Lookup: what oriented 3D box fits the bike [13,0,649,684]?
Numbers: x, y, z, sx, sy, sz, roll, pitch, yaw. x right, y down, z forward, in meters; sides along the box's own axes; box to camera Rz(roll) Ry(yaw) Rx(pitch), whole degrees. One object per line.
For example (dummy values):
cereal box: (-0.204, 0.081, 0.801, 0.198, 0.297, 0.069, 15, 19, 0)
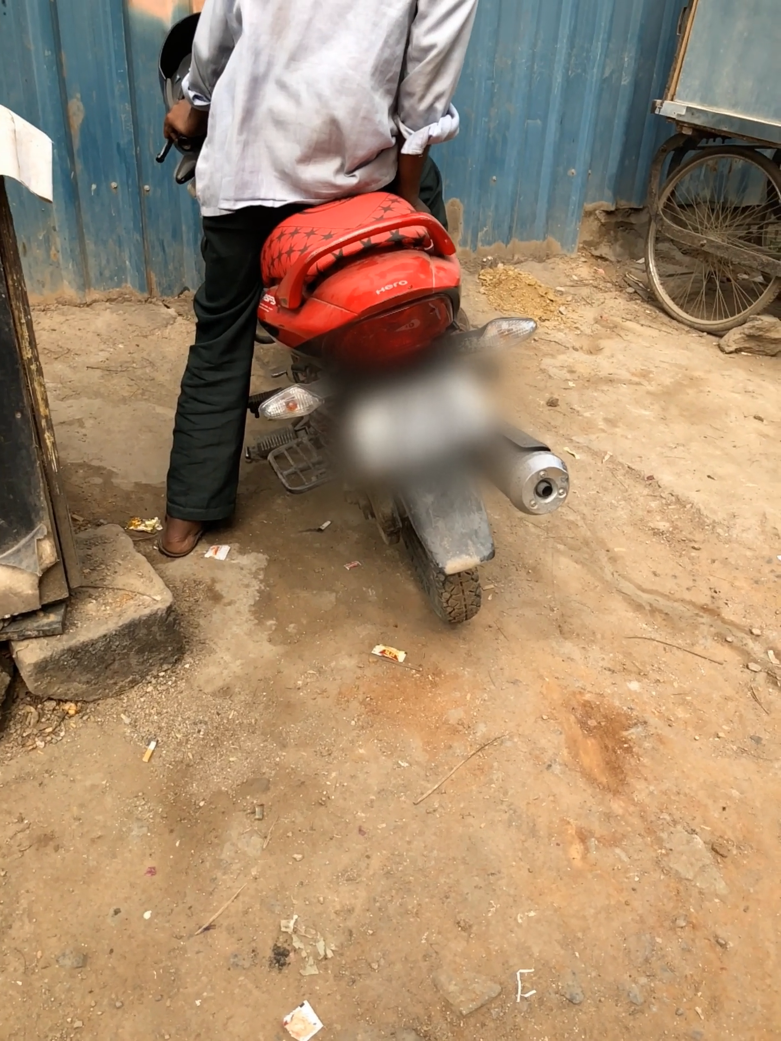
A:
bike: (-0.322, -0.750, 1.895, 0.736, 1.129, 1.637, -8, 37, -20)
